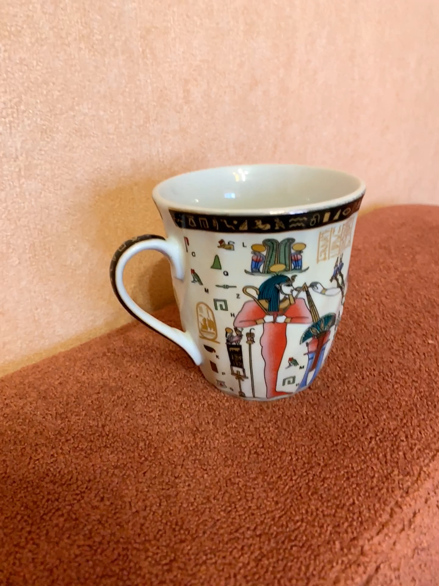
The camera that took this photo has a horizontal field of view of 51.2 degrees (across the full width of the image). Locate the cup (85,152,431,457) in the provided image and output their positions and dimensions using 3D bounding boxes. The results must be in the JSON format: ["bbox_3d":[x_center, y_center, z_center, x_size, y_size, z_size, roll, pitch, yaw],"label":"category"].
[{"bbox_3d":[0.011,-0.006,0.208,0.115,0.087,0.086,-12,29,-20],"label":"cup"}]
